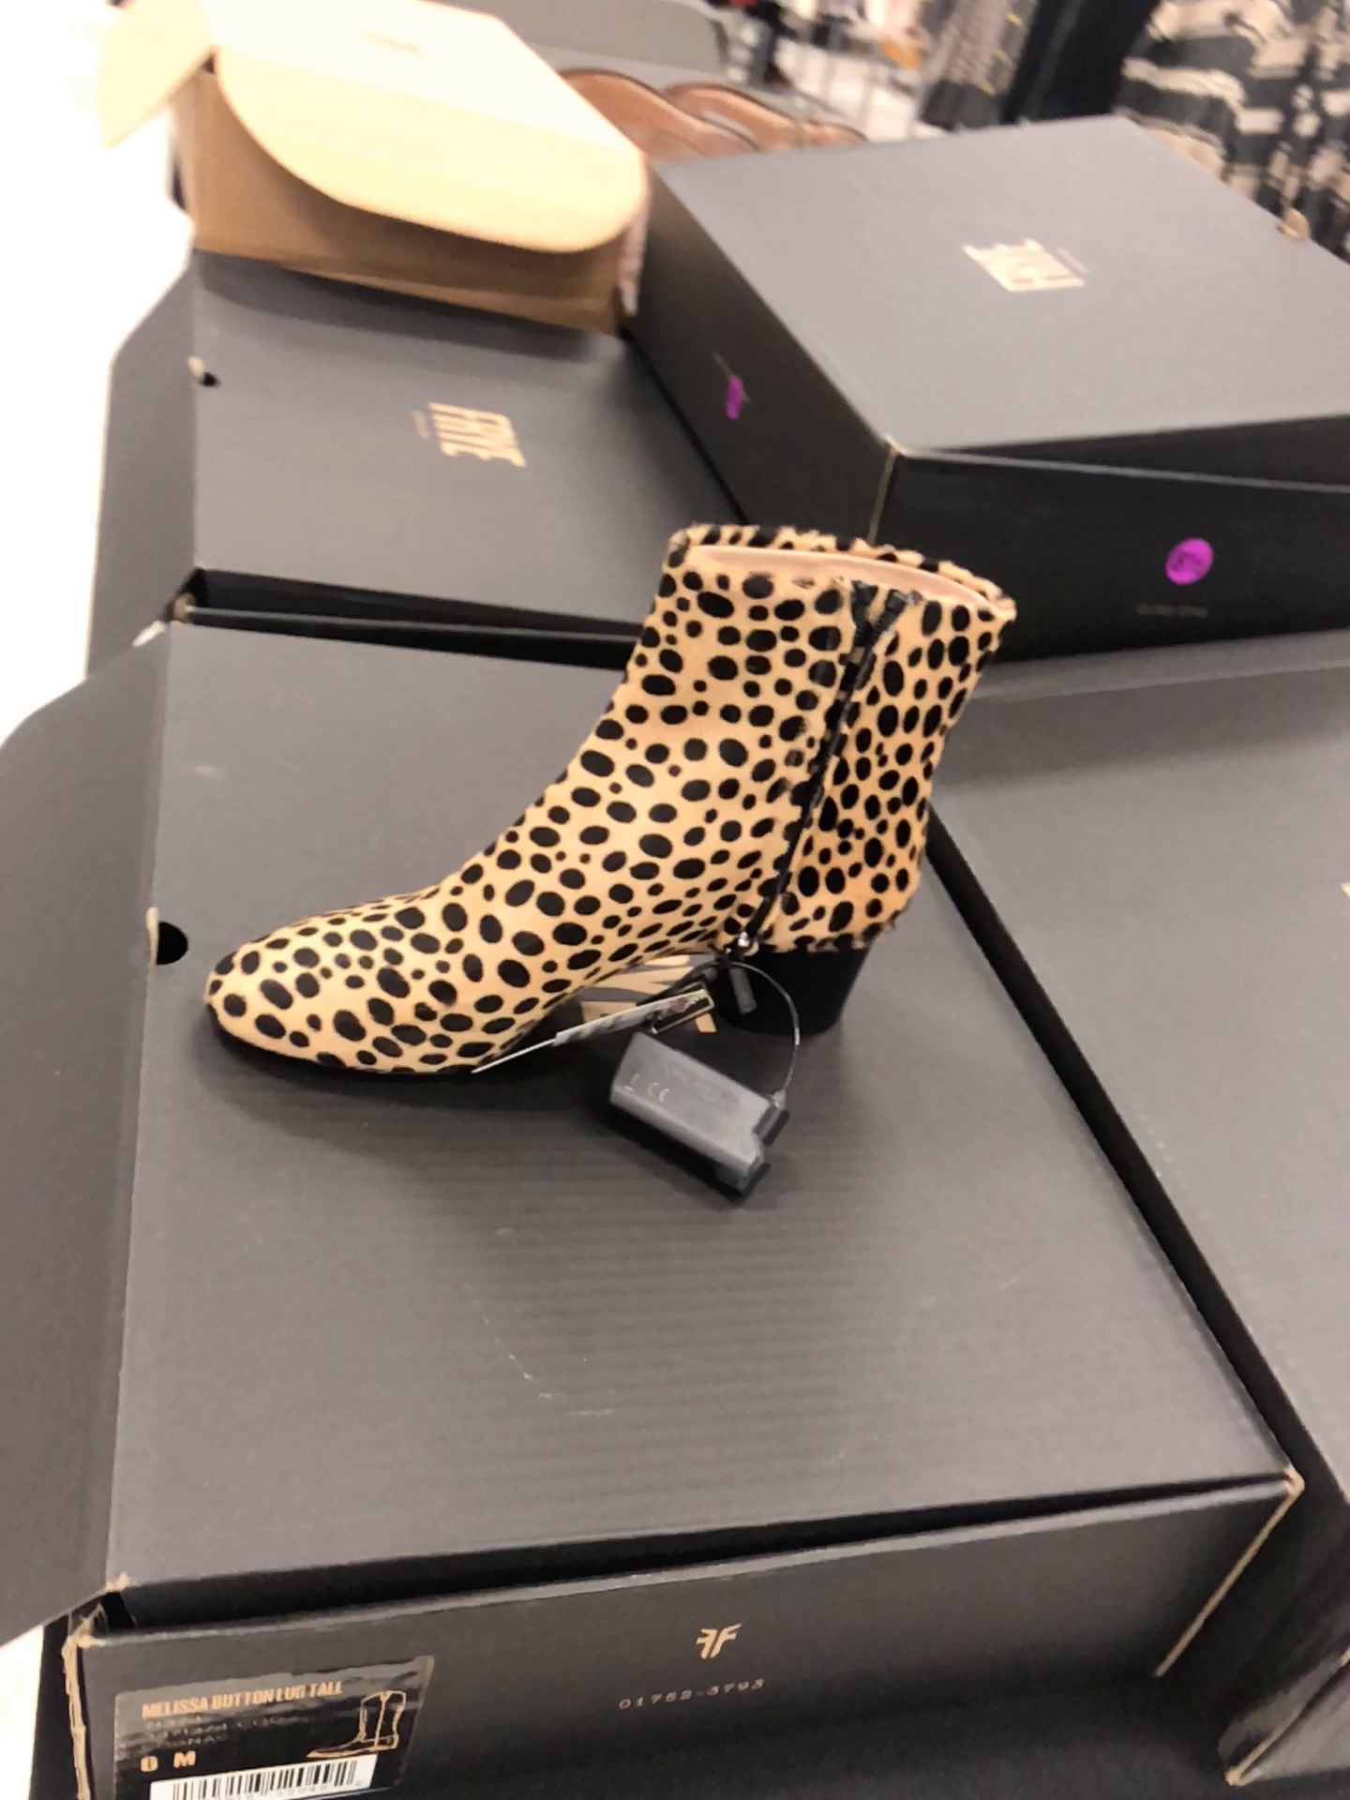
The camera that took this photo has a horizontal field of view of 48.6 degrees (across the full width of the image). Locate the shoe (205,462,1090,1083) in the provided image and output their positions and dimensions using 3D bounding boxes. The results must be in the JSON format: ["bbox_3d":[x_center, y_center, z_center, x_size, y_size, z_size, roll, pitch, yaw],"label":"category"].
[{"bbox_3d":[-0.021,-0.033,0.490,0.248,0.164,0.093,1,37,-16],"label":"shoe"}]
